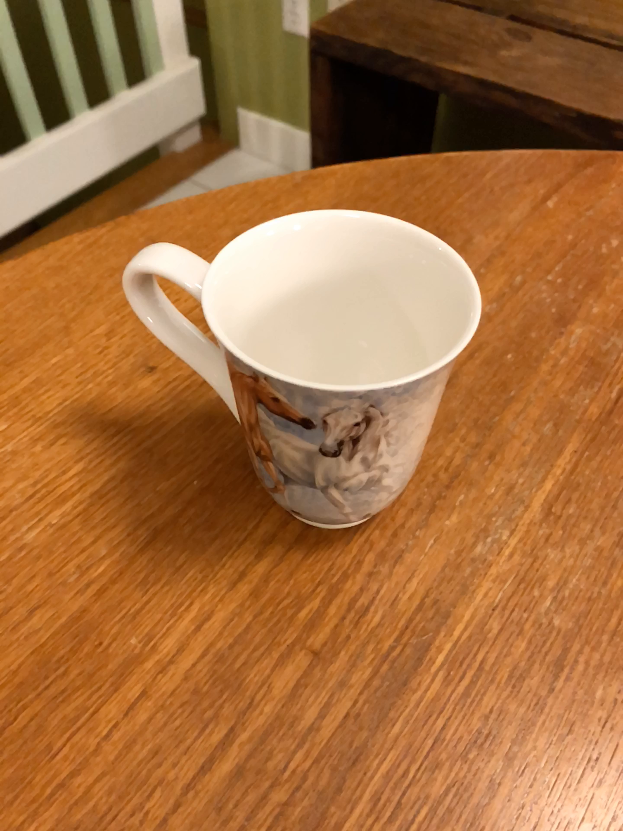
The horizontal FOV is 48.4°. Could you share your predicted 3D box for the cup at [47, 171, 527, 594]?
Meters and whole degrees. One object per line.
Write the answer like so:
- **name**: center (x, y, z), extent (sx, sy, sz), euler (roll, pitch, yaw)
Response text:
- **cup**: center (-0.005, -0.013, 0.260), extent (0.133, 0.098, 0.083), euler (17, 52, 13)
